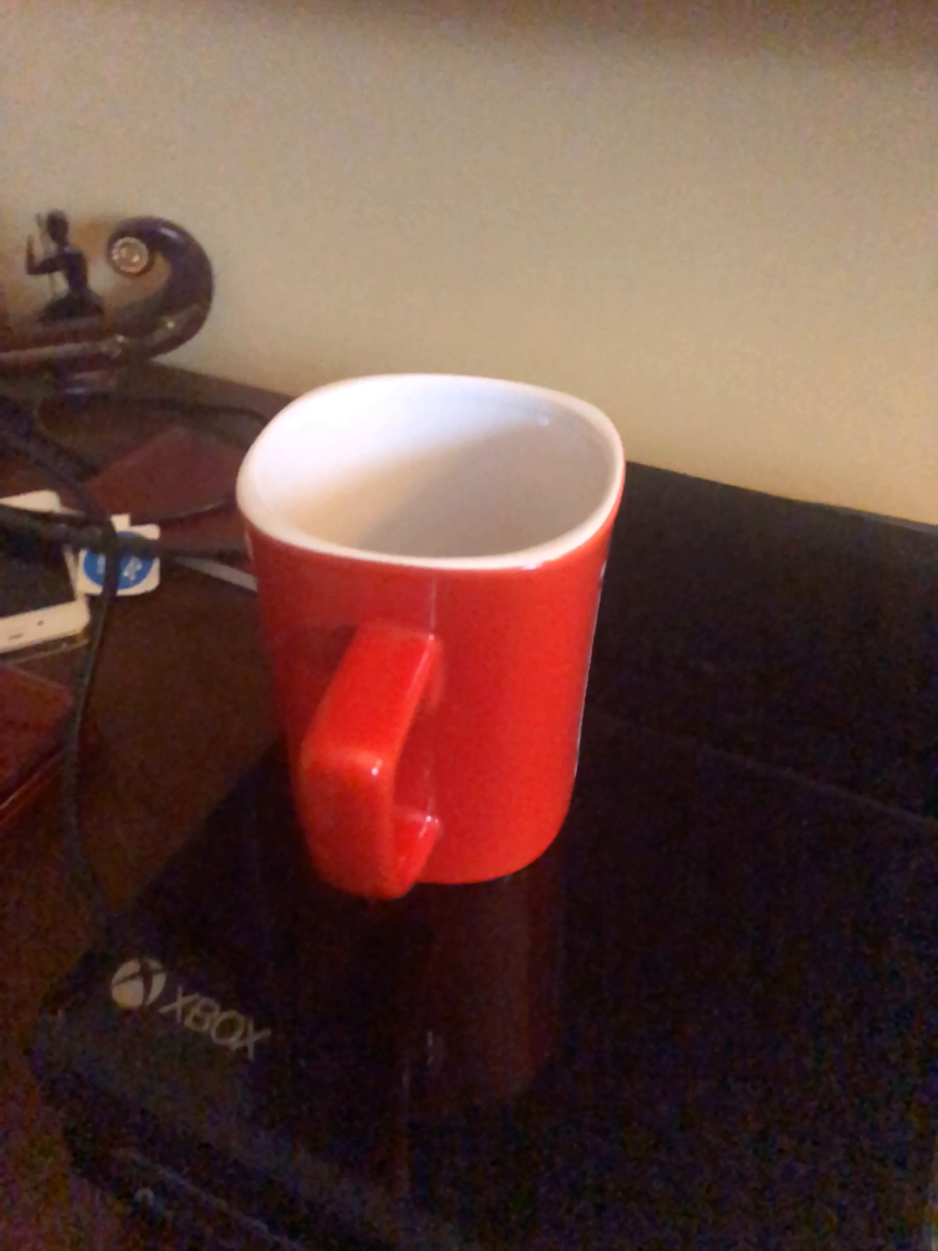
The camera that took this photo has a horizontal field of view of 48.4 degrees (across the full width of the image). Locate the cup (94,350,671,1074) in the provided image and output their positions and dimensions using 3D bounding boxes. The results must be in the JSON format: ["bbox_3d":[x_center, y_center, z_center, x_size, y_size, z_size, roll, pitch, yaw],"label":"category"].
[{"bbox_3d":[-0.006,0.011,0.218,0.080,0.089,0.111,7,38,8],"label":"cup"}]
